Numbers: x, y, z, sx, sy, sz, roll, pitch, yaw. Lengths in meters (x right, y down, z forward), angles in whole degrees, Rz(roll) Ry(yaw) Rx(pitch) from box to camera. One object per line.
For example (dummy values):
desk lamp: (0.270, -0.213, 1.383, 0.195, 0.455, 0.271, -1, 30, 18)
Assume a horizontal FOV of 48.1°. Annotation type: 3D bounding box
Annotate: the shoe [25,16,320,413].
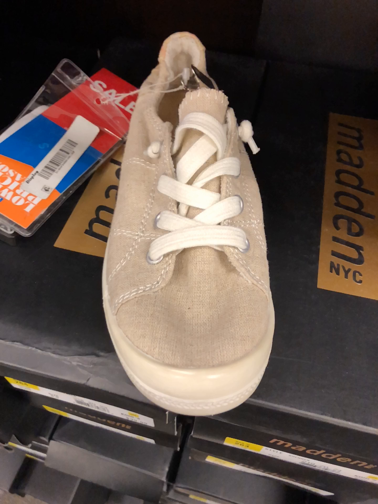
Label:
shoe: (-0.008, -0.035, 0.220, 0.090, 0.070, 0.210, 0, 53, -3)
